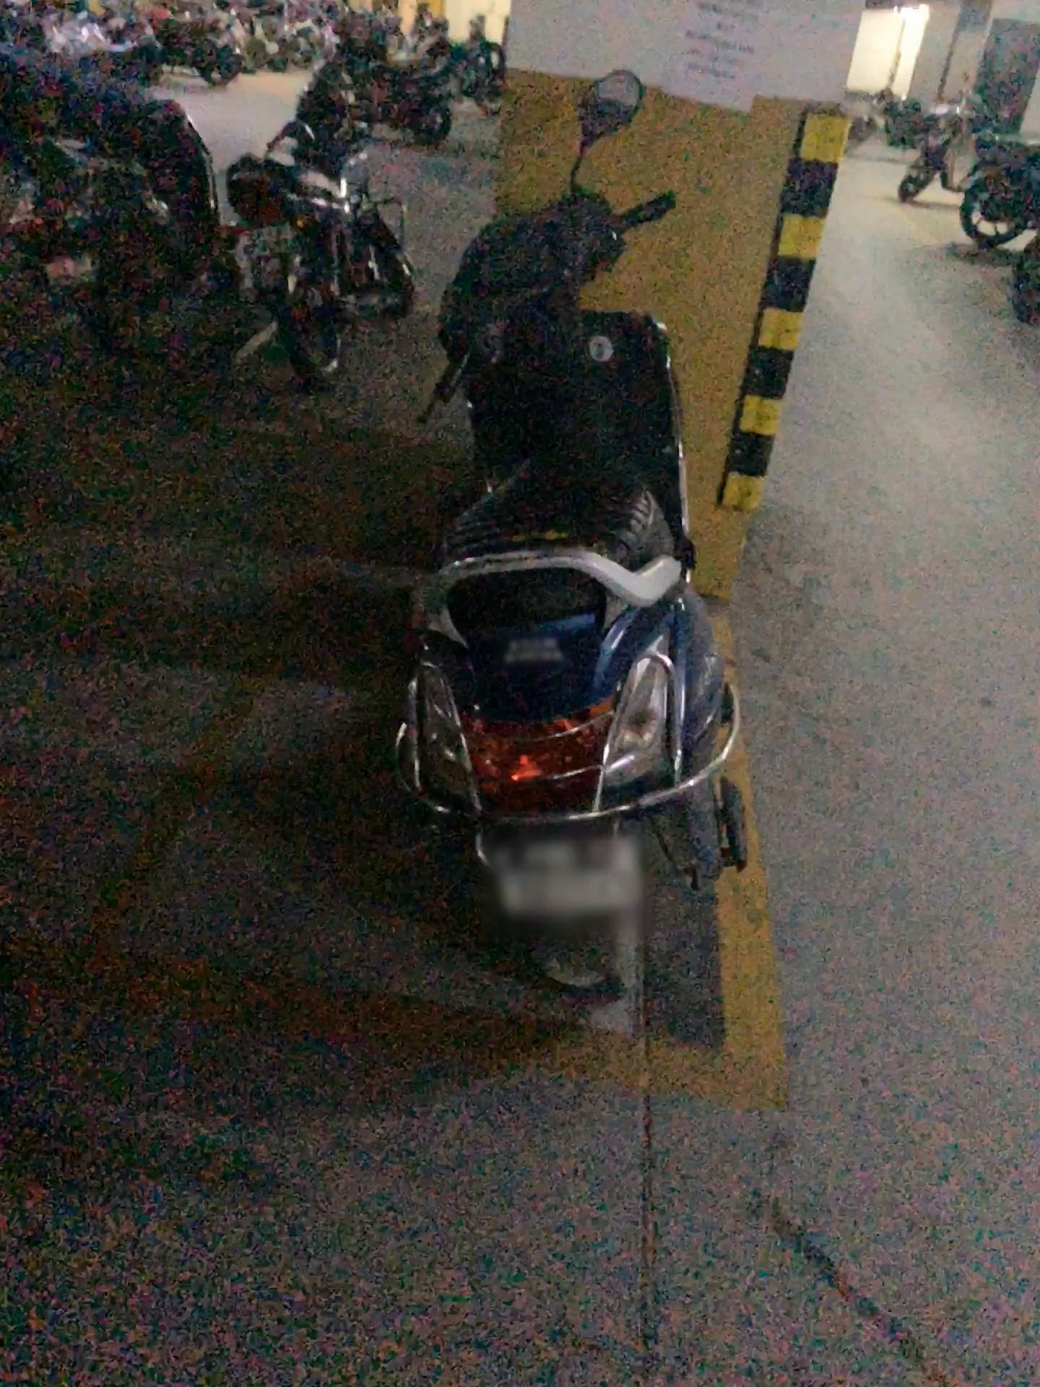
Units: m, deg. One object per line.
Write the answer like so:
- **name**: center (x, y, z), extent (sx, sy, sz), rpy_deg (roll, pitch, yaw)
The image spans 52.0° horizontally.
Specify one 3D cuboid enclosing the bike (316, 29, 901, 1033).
- **bike**: center (0.004, -0.359, 1.883), extent (0.630, 1.062, 1.277), rpy_deg (2, 39, -7)
